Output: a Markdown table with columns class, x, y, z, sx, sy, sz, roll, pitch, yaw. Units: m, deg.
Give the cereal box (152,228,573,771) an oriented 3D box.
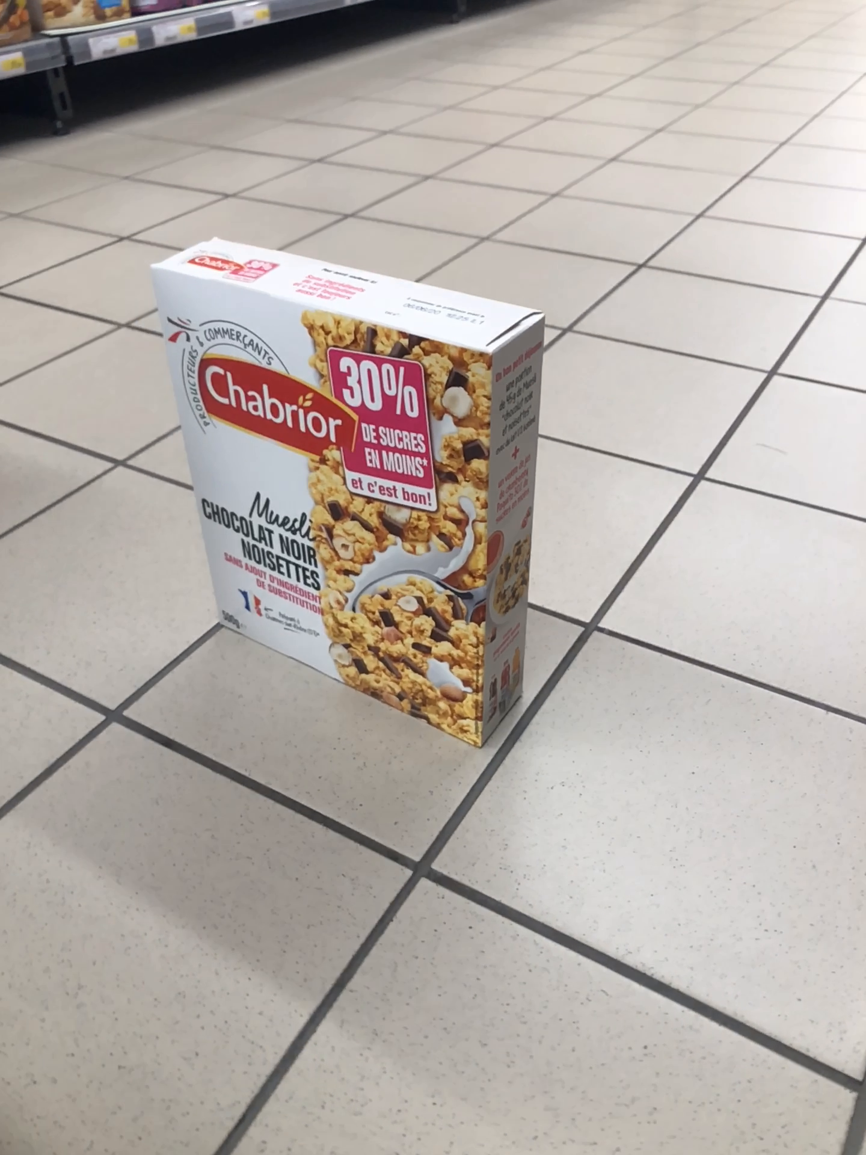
| class | x | y | z | sx | sy | sz | roll | pitch | yaw |
| --- | --- | --- | --- | --- | --- | --- | --- | --- | --- |
| cereal box | -0.036 | -0.039 | 0.499 | 0.200 | 0.239 | 0.050 | 21 | 42 | 28 |
